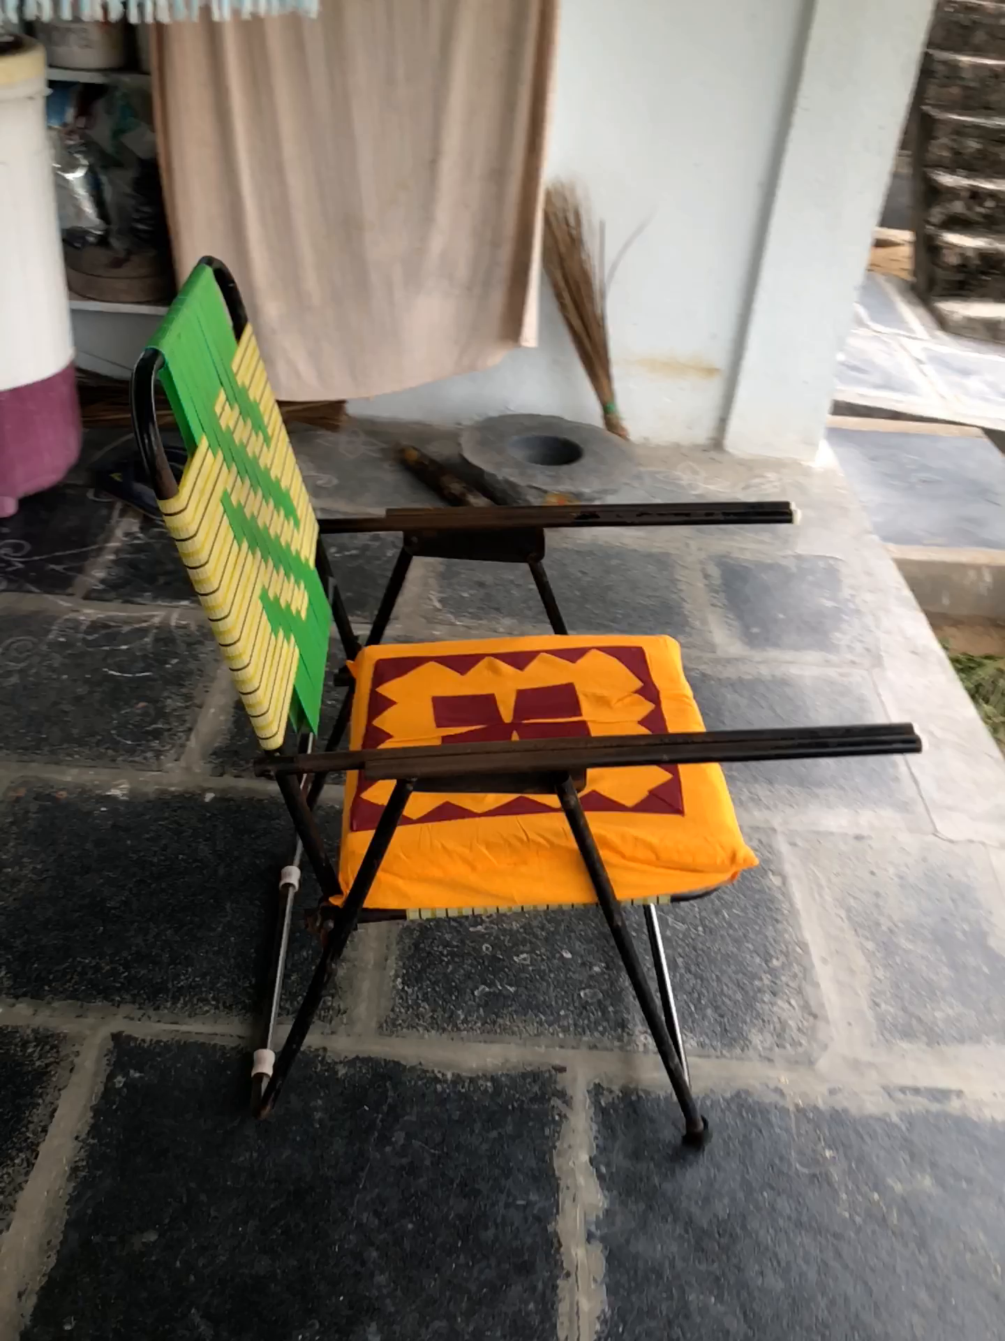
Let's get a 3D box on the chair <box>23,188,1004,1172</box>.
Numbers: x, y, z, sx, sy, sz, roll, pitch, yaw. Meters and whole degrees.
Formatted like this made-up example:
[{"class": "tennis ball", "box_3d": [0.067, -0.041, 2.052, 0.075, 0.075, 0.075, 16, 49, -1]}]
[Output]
[{"class": "chair", "box_3d": [-0.001, 0.002, 1.212, 0.680, 0.825, 0.663, 1, 35, -5]}]
